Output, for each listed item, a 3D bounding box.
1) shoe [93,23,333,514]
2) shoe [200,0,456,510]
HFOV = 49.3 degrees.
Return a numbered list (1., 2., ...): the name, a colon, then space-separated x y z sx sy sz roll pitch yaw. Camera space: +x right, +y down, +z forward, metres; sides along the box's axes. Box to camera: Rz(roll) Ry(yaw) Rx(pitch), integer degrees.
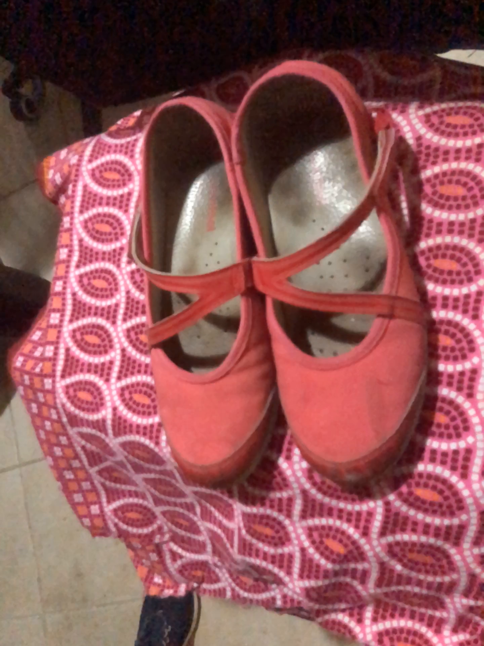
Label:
1. shoe: -0.020 -0.029 0.371 0.110 0.100 0.290 -9 82 24
2. shoe: 0.059 -0.041 0.358 0.110 0.100 0.300 -10 81 24
